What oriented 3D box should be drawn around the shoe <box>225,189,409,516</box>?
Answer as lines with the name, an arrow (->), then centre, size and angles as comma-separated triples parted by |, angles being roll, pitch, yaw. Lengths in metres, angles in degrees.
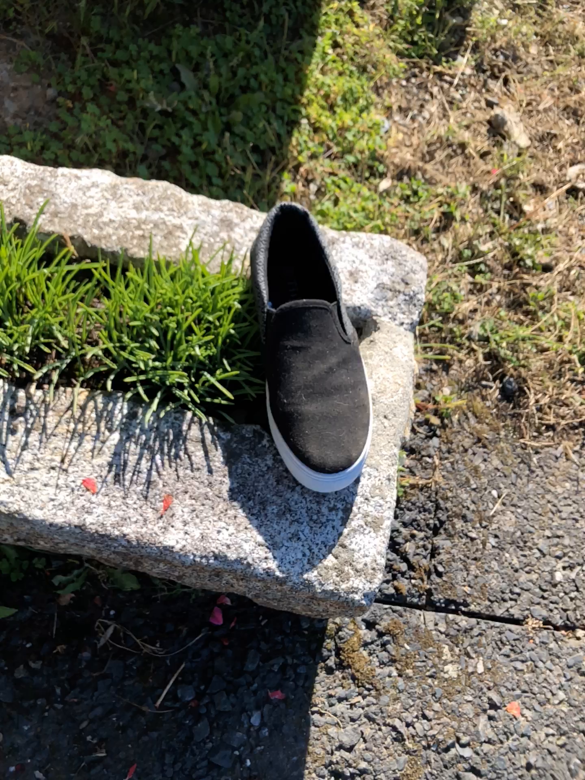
shoe -> 0.009, -0.038, 0.550 | 0.100, 0.080, 0.261 | -7, 66, -9
